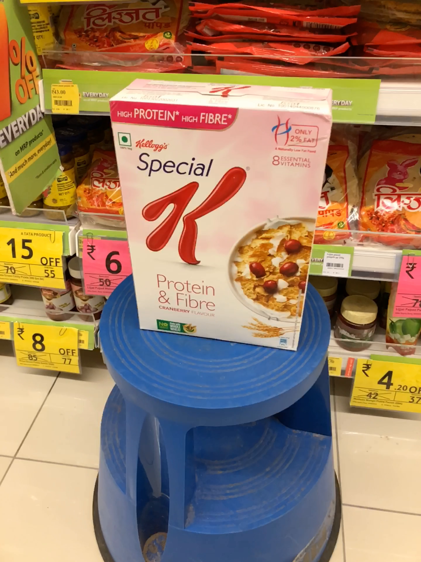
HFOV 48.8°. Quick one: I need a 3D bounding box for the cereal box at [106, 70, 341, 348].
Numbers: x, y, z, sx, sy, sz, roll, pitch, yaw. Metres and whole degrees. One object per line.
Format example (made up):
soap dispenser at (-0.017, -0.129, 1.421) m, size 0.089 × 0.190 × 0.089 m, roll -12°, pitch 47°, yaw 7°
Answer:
cereal box at (0.016, -0.061, 0.452) m, size 0.180 × 0.248 × 0.071 m, roll 7°, pitch 39°, yaw 11°
